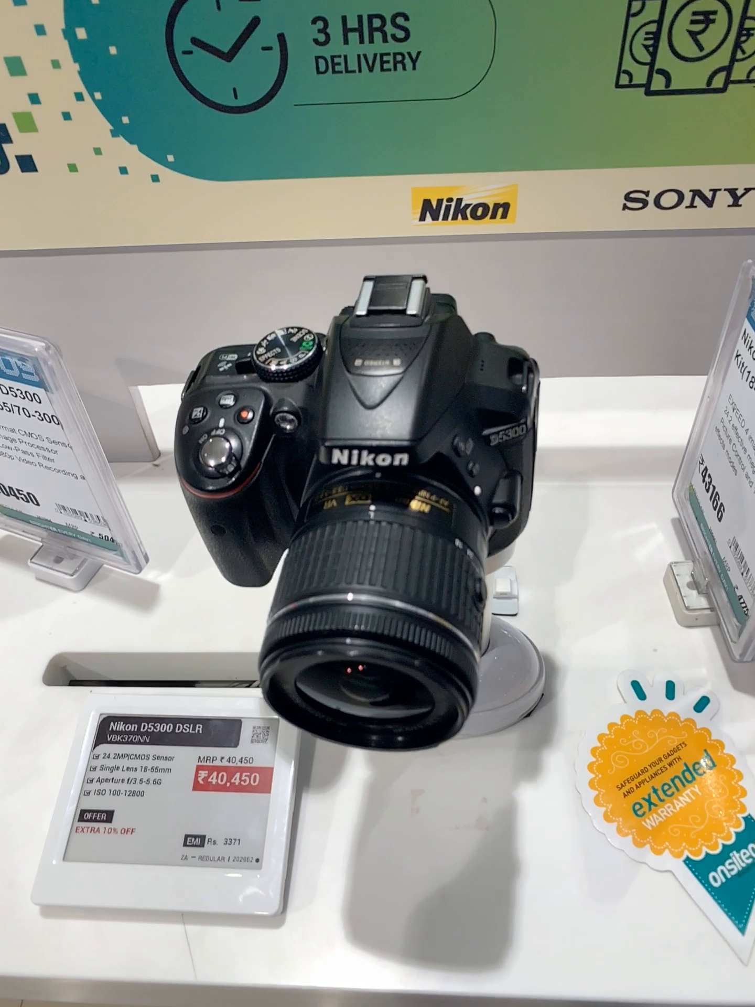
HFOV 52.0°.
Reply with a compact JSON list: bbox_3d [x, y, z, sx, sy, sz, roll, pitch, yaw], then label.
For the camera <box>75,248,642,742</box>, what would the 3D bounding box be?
[{"bbox_3d":[0.000,-0.006,0.232,0.118,0.082,0.123,0,47,4],"label":"camera"}]
